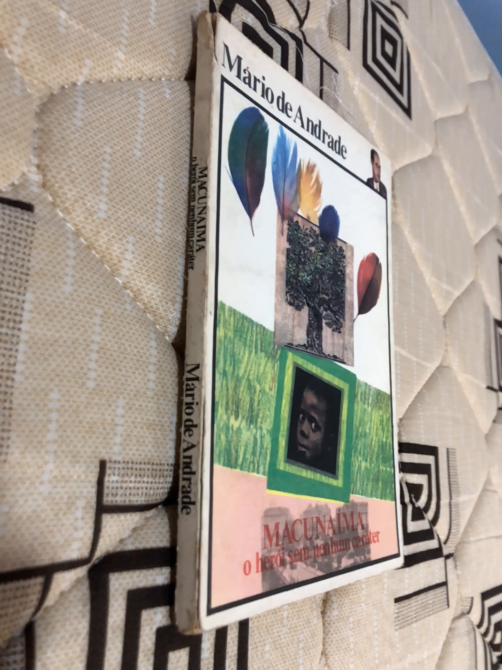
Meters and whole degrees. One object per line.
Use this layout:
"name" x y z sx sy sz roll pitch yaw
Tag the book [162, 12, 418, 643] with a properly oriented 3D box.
"book" 0.025 -0.001 0.220 0.131 0.020 0.190 14 72 -49
